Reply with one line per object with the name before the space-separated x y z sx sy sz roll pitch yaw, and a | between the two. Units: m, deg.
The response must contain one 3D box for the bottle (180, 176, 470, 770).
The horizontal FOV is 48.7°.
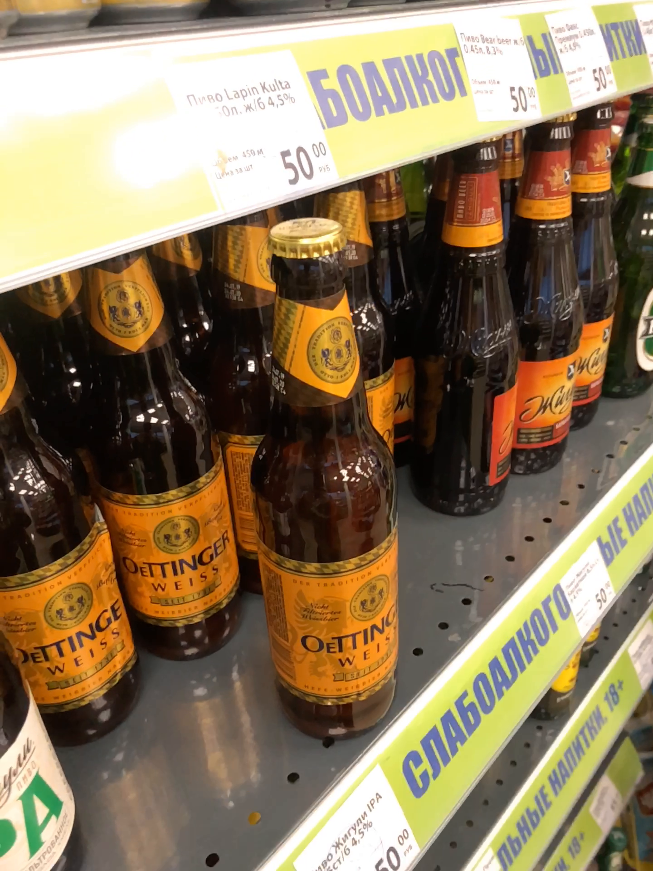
bottle | 0.001 0.026 0.311 0.072 0.242 0.070 -1 32 1
